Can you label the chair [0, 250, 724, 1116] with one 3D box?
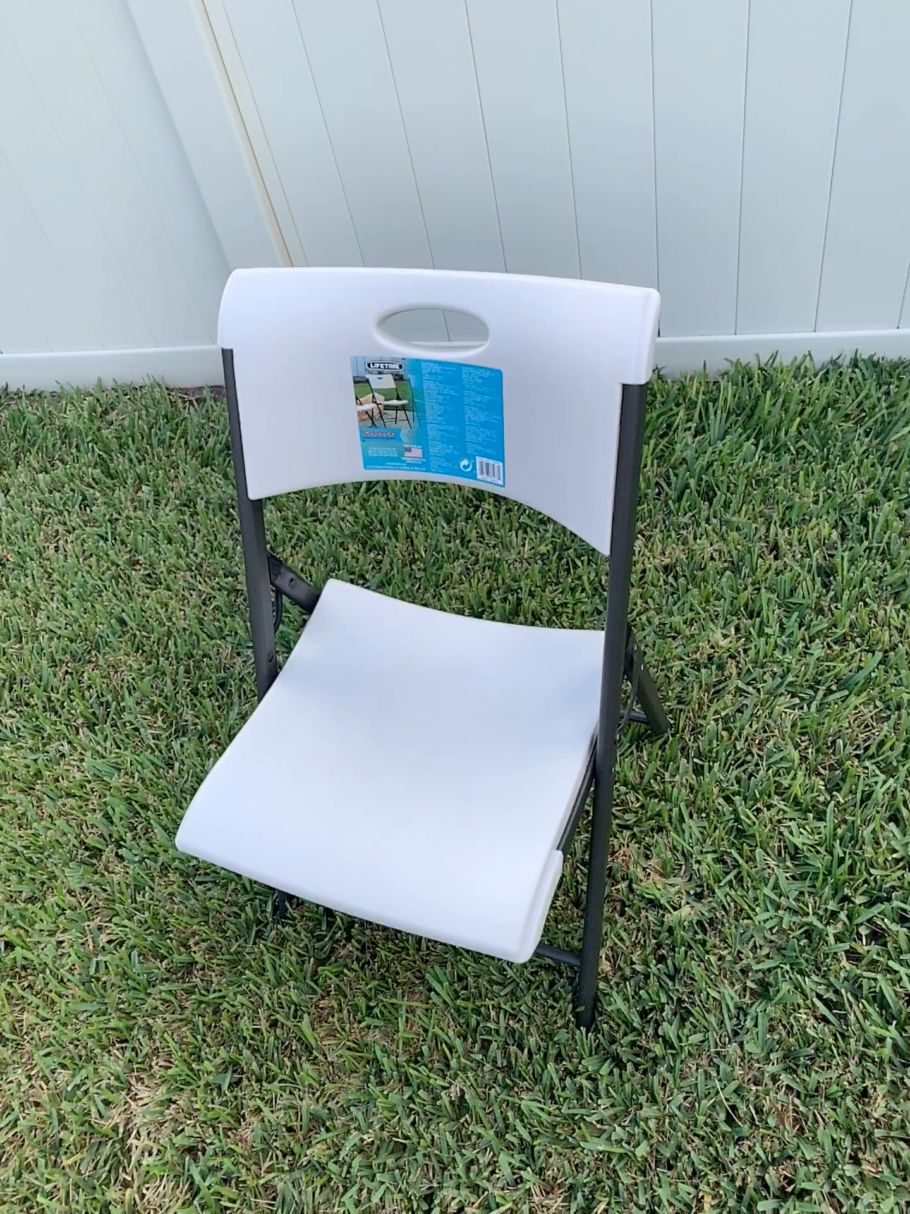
[{"bbox_3d":[-0.025,0.096,1.040,0.519,0.766,0.518,10,51,22],"label":"chair"}]
